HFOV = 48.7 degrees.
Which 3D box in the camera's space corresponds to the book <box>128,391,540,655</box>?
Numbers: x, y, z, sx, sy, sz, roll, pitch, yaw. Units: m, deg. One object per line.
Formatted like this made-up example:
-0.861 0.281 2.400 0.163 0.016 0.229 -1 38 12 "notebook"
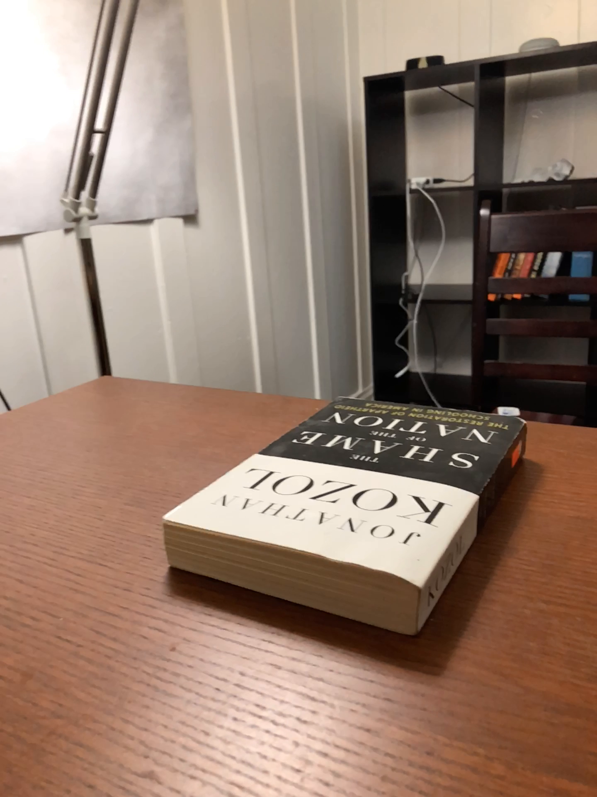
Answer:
0.040 0.049 0.399 0.160 0.030 0.231 6 20 29 "book"
